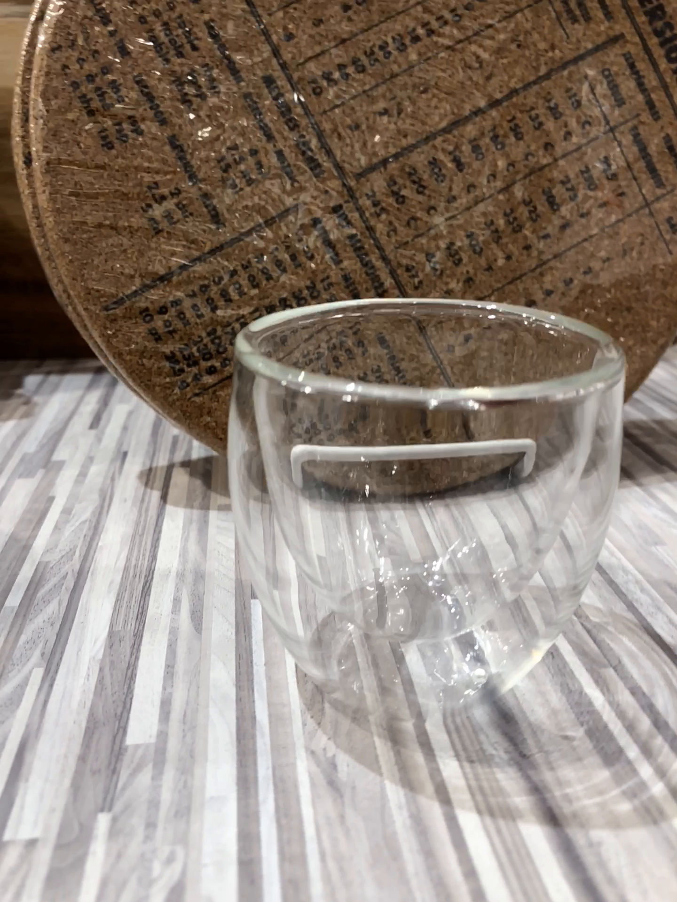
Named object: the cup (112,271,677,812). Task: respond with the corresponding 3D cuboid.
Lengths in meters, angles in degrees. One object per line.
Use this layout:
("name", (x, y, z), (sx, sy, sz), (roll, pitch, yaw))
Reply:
("cup", (0.016, 0.003, 0.127), (0.070, 0.050, 0.070), (1, 22, 0))
